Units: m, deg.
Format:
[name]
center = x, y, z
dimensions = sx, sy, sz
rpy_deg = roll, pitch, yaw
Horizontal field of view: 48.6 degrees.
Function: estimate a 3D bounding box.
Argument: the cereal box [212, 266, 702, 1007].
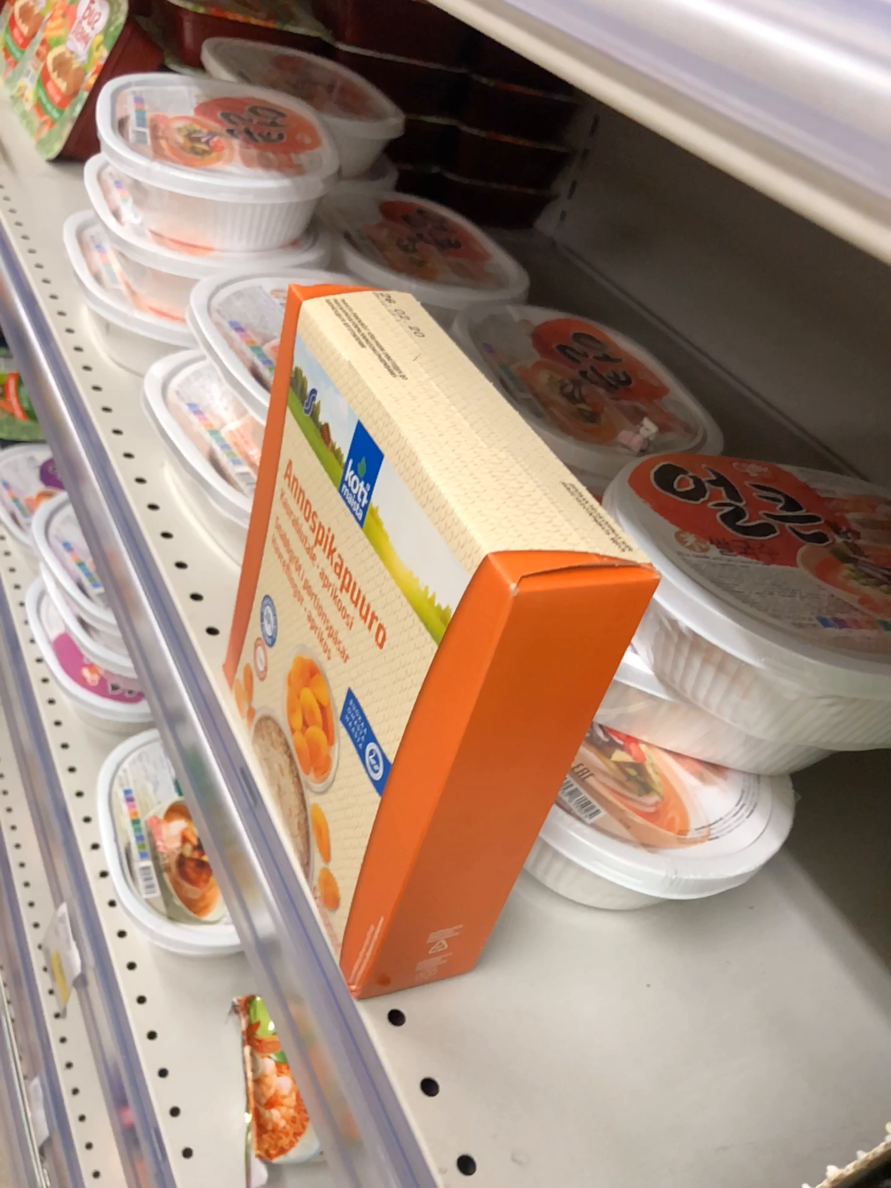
[cereal box]
center = -0.019, 0.010, 0.344
dimensions = 0.060, 0.179, 0.171
rpy_deg = -3, 41, -29
